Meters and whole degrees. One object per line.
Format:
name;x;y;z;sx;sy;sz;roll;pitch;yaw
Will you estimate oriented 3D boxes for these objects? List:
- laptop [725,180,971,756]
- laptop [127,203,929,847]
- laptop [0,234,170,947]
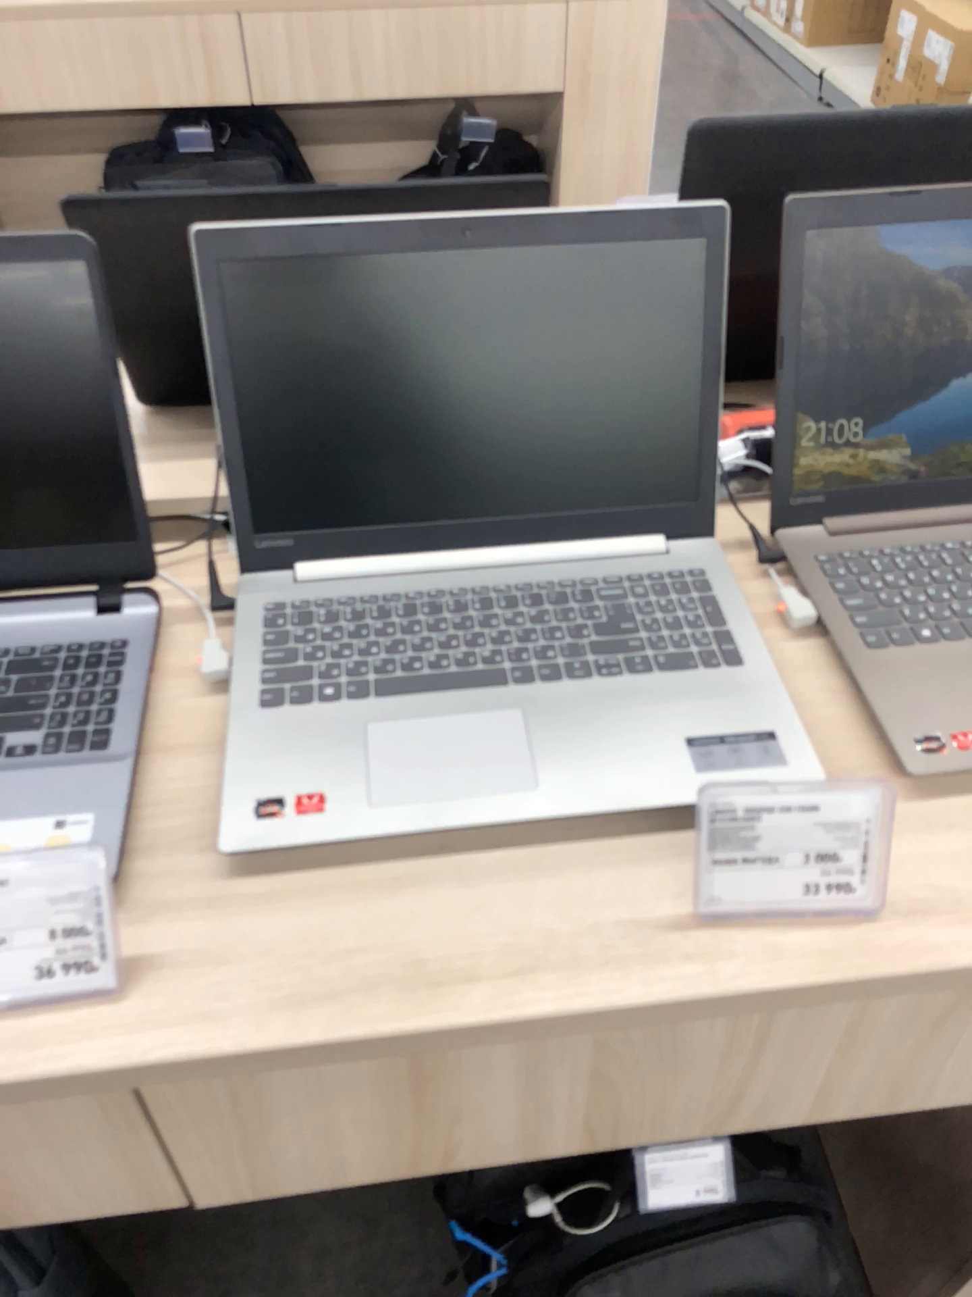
laptop;0.418;-0.136;0.707;0.357;0.222;0.328;-6;44;-7
laptop;0.006;-0.098;0.670;0.365;0.220;0.337;-5;44;-5
laptop;-0.398;-0.052;0.608;0.326;0.232;0.320;-4;43;-5
